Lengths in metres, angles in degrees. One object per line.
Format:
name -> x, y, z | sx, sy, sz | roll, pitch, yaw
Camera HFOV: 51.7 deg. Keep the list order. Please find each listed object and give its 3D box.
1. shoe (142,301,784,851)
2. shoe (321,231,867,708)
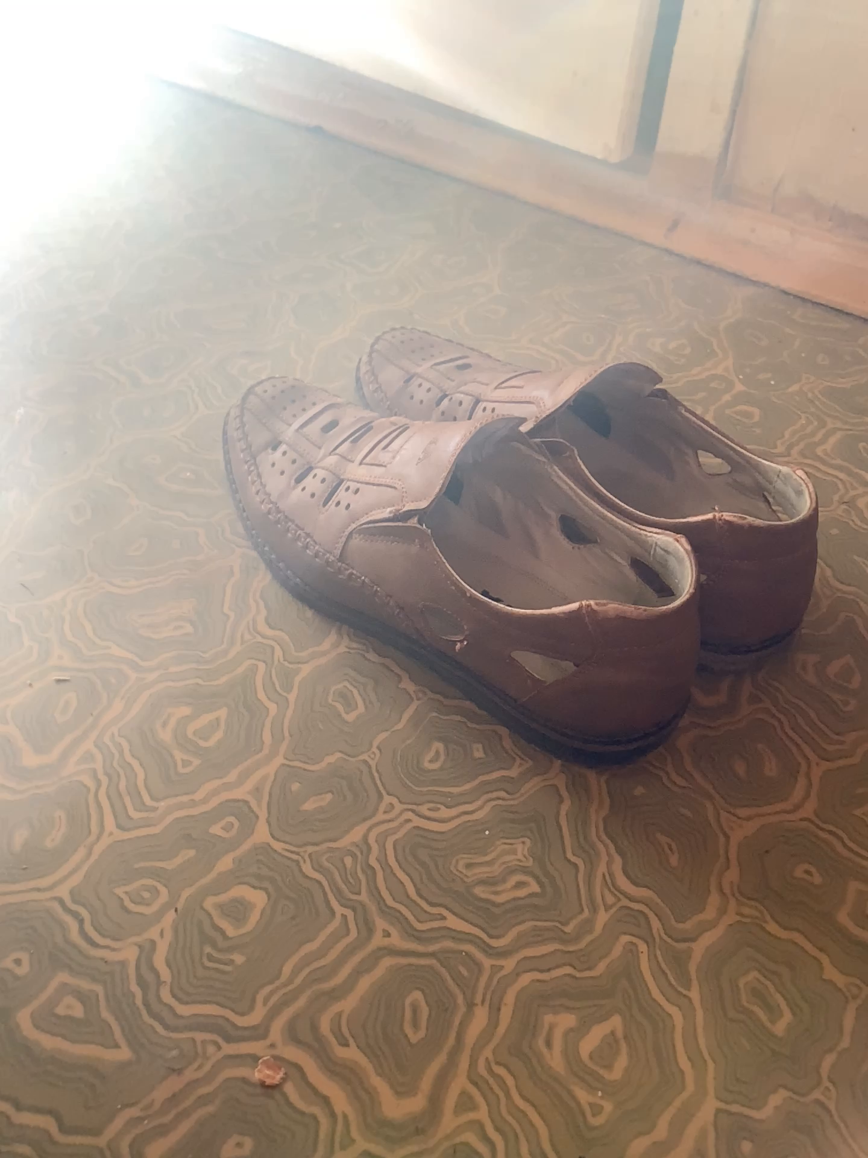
shoe -> -0.006, -0.024, 0.413 | 0.100, 0.079, 0.291 | -33, 54, -31
shoe -> 0.074, -0.077, 0.459 | 0.110, 0.079, 0.291 | -30, 52, -29
